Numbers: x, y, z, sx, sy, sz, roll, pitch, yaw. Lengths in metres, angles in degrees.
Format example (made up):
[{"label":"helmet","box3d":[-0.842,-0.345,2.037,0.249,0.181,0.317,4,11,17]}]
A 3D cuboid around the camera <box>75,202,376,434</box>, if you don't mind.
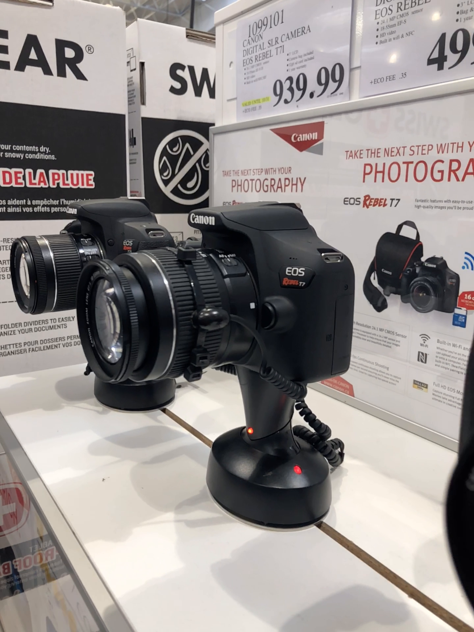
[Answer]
[{"label":"camera","box3d":[-0.012,-0.015,0.310,0.120,0.100,0.130,-8,15,-35]}]
